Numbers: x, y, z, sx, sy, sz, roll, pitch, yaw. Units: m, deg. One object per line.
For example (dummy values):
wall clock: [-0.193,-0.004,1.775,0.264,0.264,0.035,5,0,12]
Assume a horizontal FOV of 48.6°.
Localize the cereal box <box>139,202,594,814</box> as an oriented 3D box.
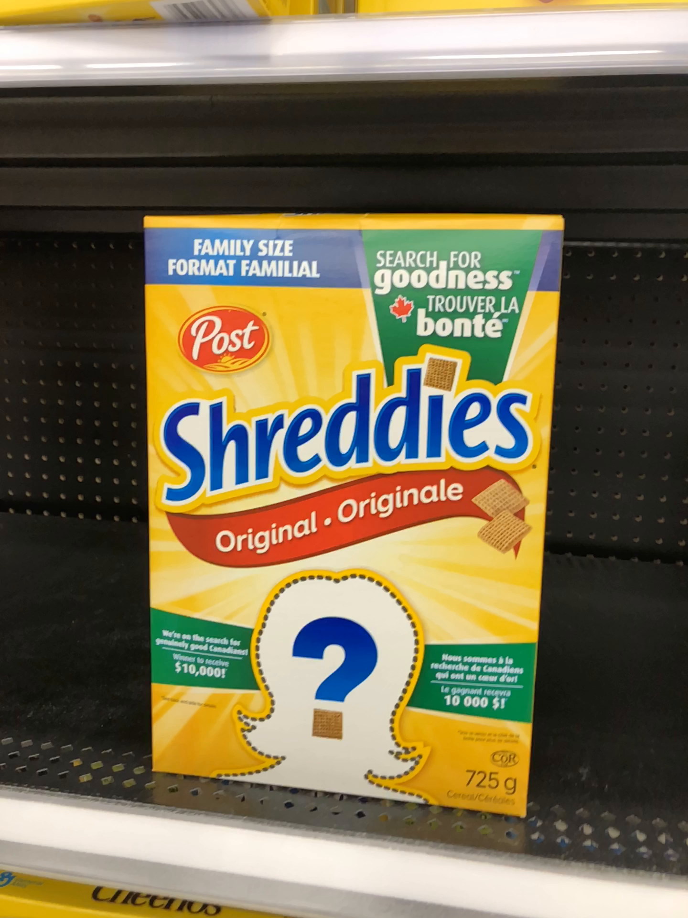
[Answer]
cereal box: [0.007,0.020,0.404,0.210,0.289,0.070,3,8,9]
